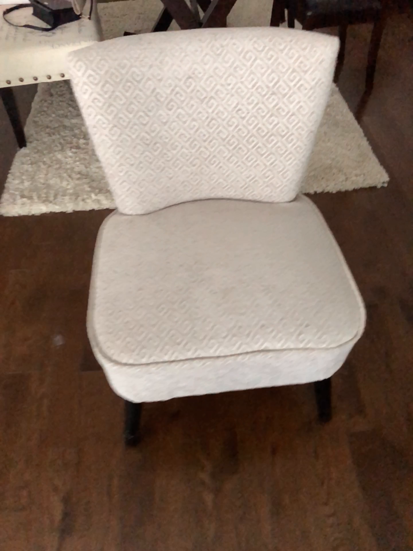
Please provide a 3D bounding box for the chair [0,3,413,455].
[{"bbox_3d":[0.019,-0.074,1.076,0.600,0.797,0.642,-5,49,-3],"label":"chair"}]
